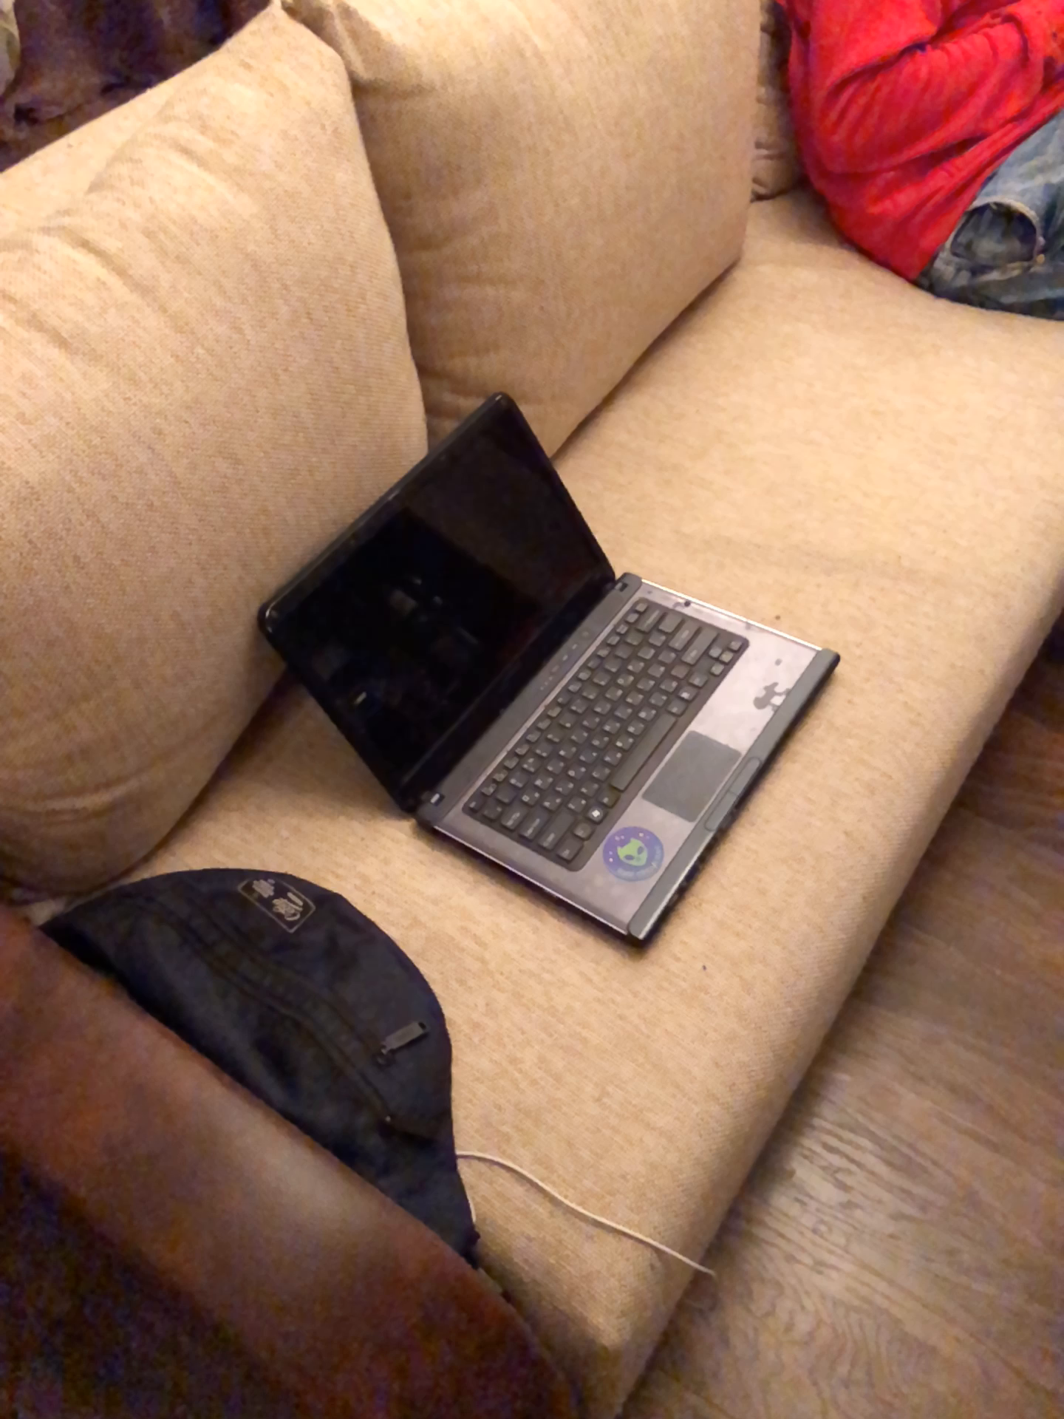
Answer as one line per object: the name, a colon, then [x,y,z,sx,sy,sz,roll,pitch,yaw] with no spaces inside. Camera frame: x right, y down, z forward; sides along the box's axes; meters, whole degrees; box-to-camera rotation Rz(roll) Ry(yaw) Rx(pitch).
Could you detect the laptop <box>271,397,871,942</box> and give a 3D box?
laptop: [0.037,-0.055,0.998,0.350,0.174,0.339,25,57,24]
